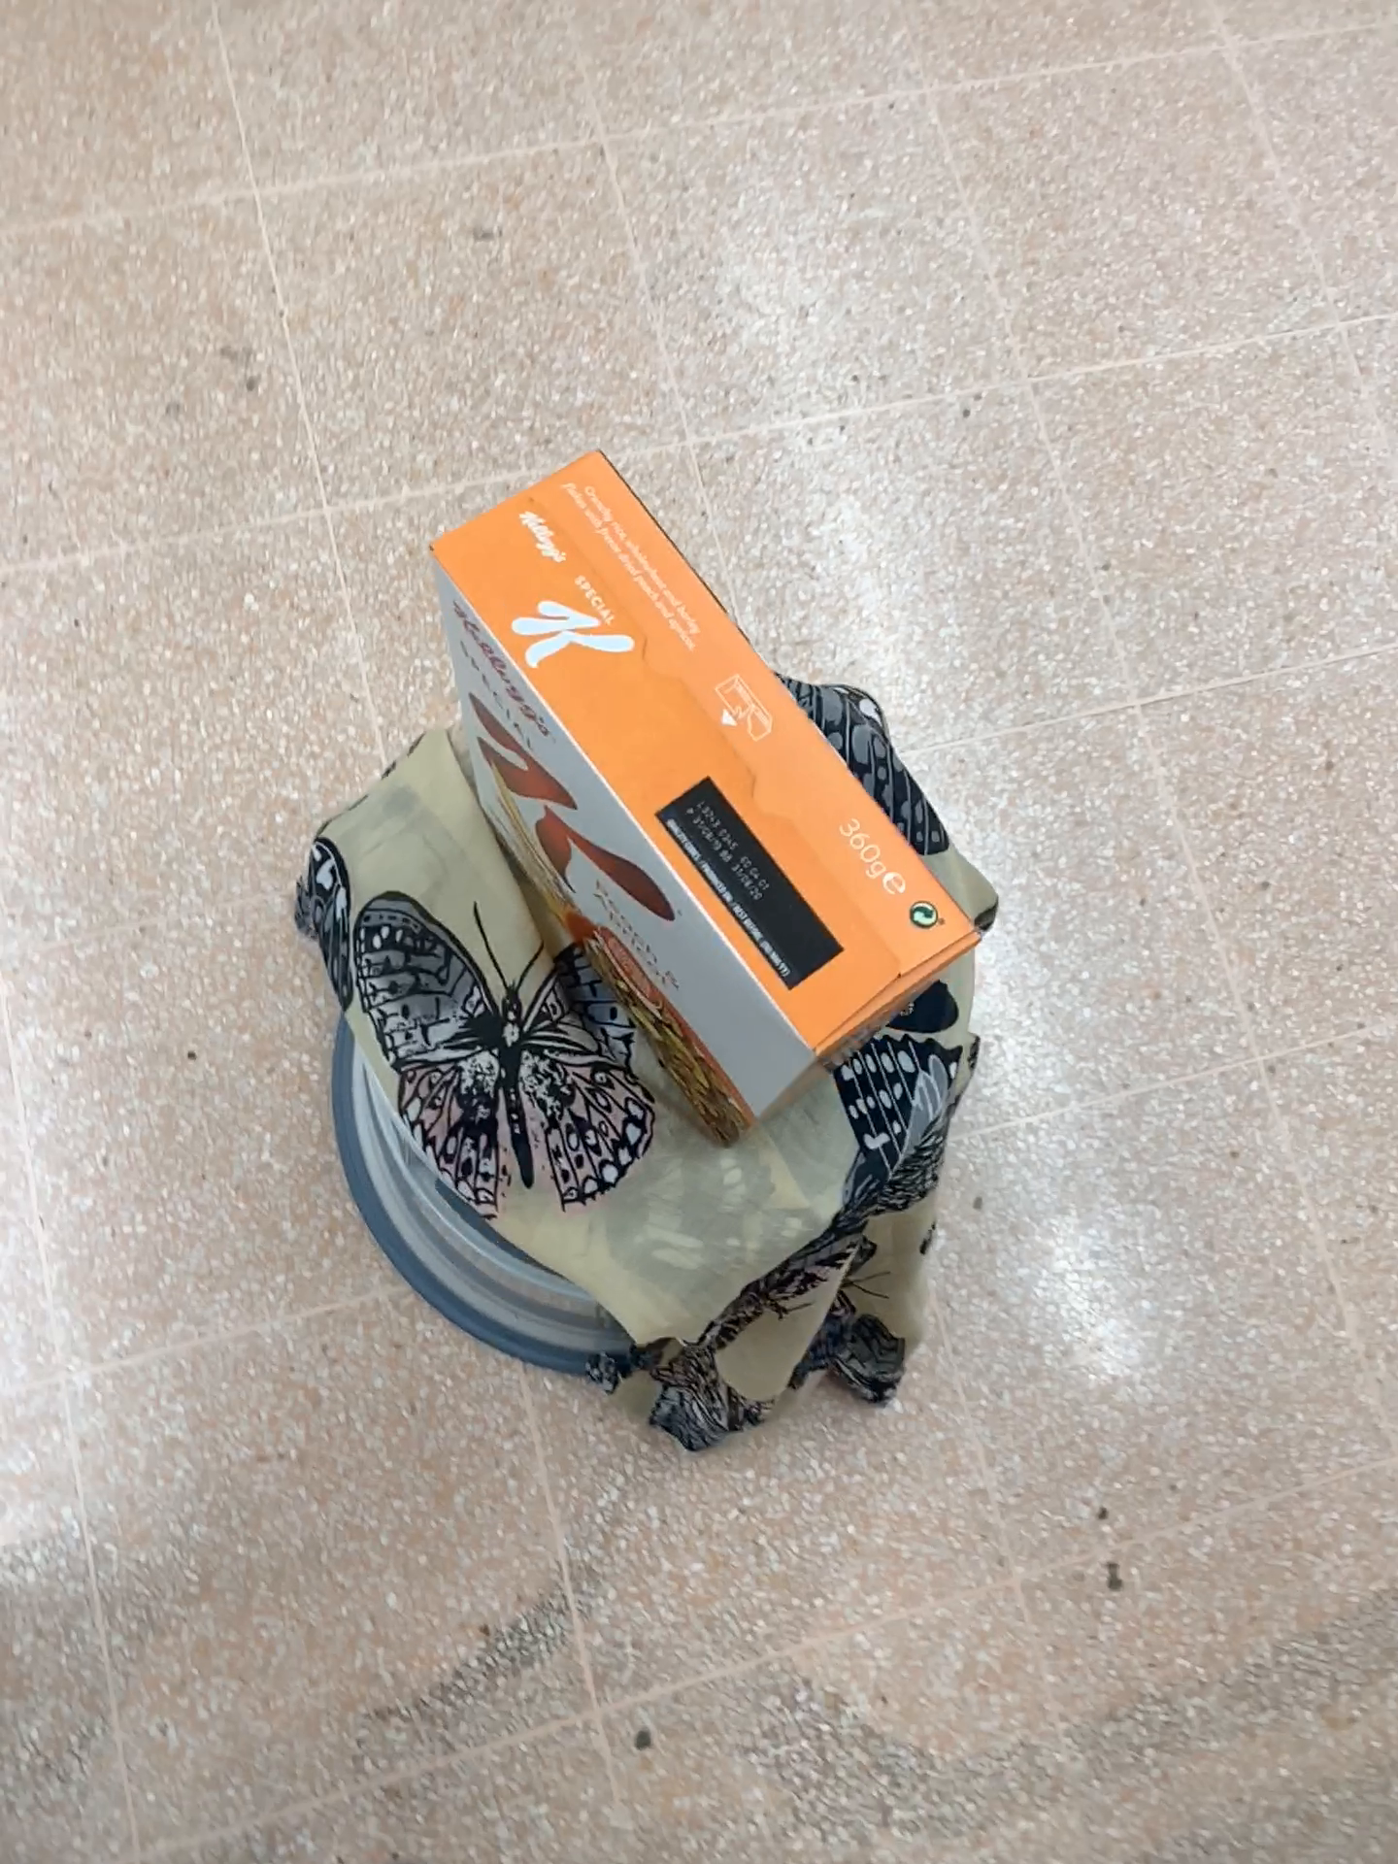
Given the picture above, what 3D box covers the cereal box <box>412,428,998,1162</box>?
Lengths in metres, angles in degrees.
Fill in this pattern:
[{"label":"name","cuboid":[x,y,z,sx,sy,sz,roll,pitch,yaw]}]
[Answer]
[{"label":"cereal box","cuboid":[-0.010,-0.025,0.550,0.060,0.269,0.210,-35,82,-11]}]
